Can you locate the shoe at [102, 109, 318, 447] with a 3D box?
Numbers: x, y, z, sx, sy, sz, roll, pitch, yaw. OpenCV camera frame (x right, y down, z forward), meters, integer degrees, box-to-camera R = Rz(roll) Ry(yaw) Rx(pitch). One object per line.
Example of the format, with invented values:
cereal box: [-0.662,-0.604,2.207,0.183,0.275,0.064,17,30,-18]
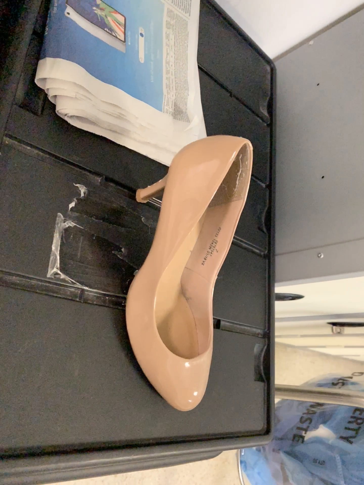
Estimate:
shoe: [0.016,0.031,0.347,0.097,0.140,0.239,2,78,-45]
